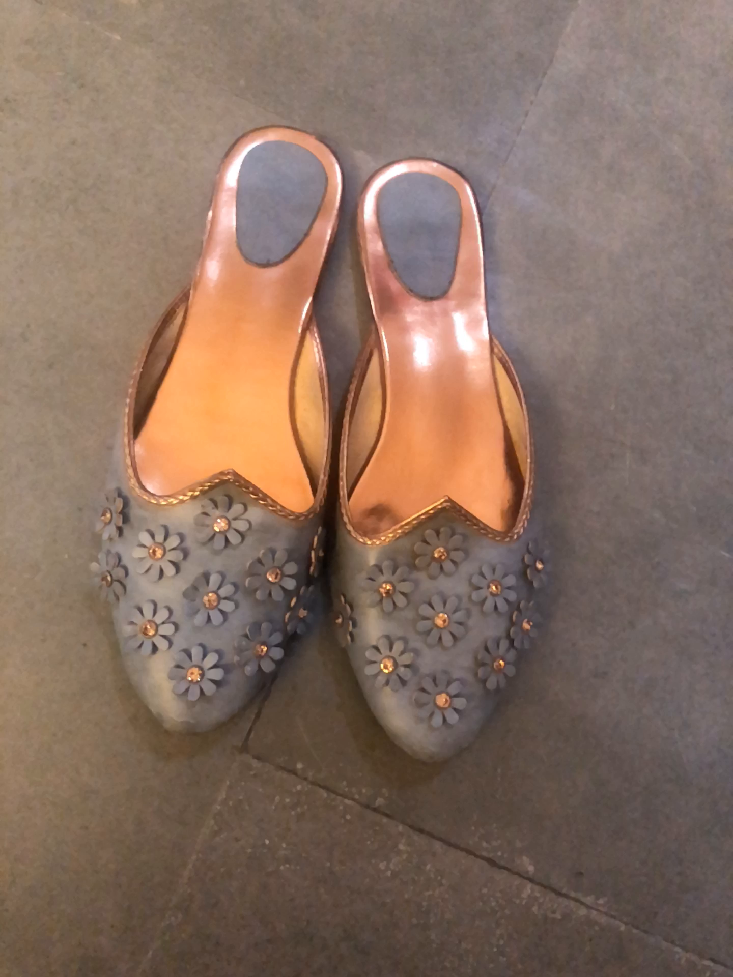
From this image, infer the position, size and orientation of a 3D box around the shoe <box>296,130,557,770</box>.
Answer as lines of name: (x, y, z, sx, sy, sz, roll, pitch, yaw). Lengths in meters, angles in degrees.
shoe: (0.024, -0.019, 0.365, 0.100, 0.050, 0.270, 2, 79, -7)

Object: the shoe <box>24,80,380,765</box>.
shoe: (-0.061, -0.031, 0.348, 0.100, 0.050, 0.270, 8, 78, -6)
